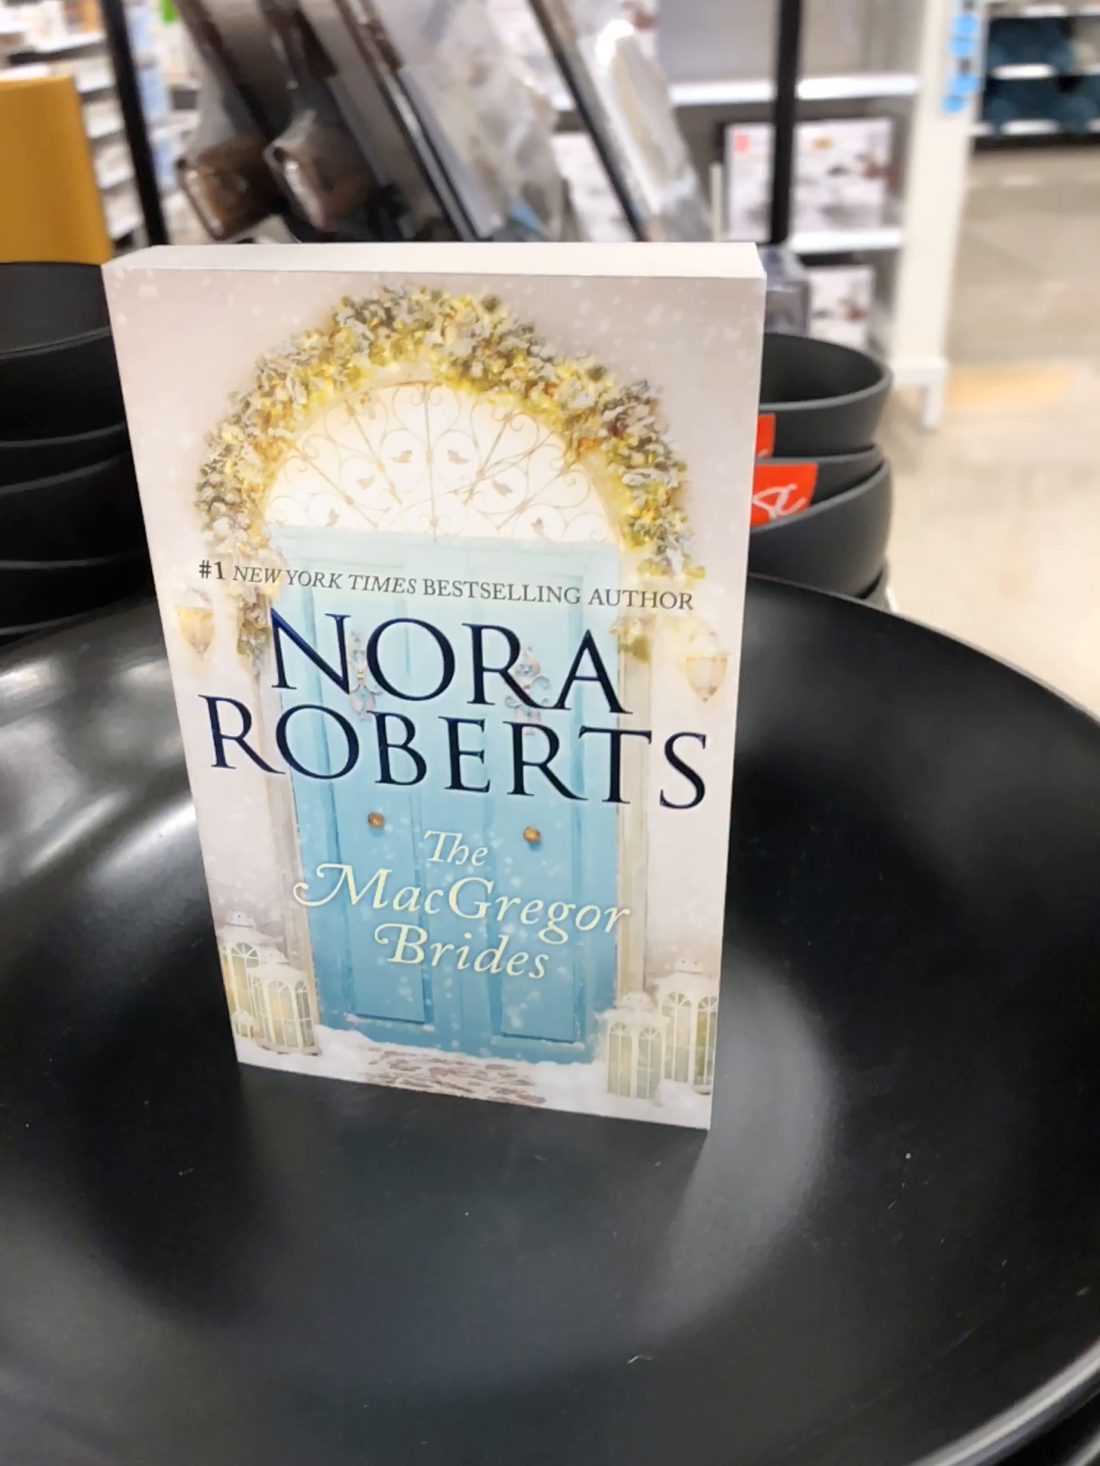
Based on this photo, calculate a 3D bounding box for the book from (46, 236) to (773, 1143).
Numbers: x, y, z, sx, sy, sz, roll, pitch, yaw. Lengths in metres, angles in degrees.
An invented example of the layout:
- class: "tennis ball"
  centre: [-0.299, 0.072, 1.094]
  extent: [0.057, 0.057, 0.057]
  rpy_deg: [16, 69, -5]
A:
- class: "book"
  centre: [-0.018, -0.004, 0.240]
  extent: [0.111, 0.168, 0.040]
  rpy_deg: [4, 29, 12]
